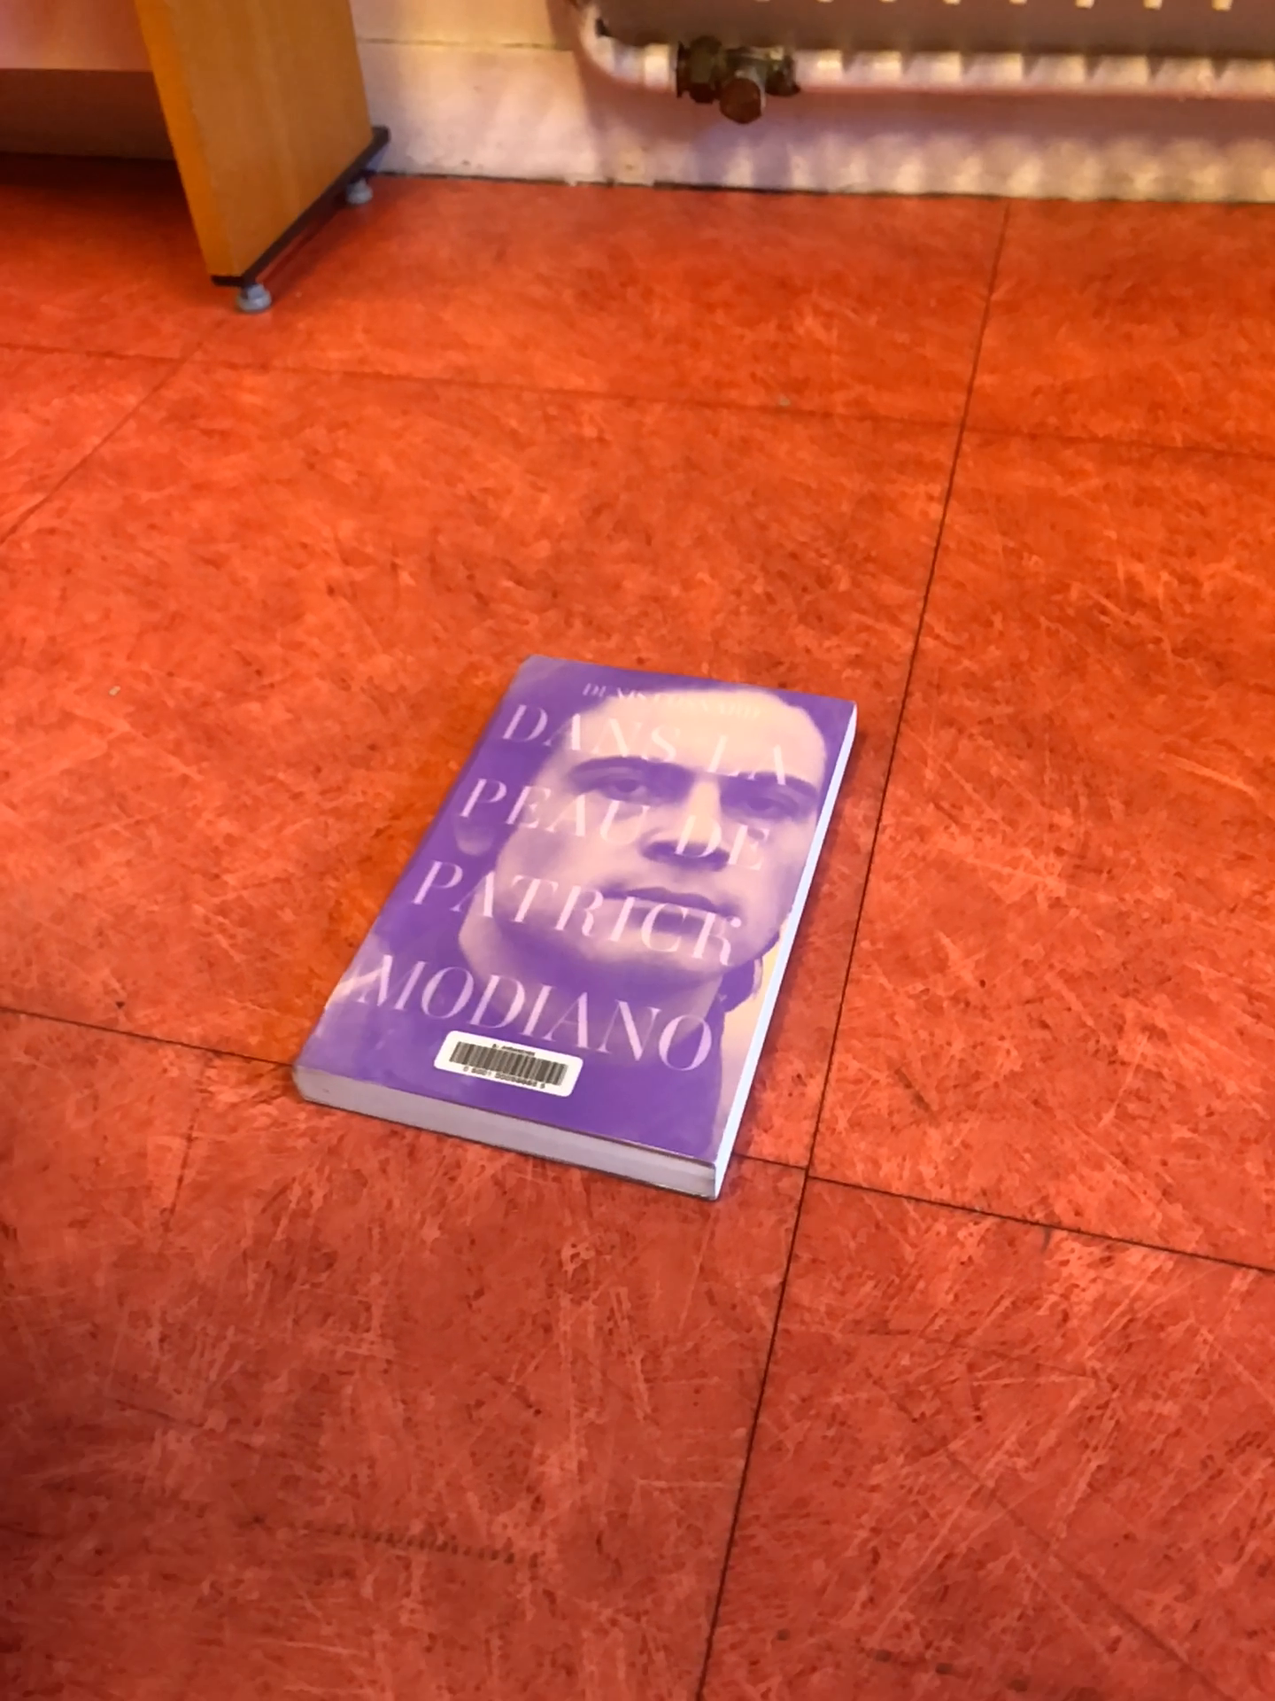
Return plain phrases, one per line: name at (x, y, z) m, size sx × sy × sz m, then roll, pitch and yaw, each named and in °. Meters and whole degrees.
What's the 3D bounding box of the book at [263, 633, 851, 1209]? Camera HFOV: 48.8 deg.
book at (-0.017, 0.010, 0.534) m, size 0.150 × 0.030 × 0.234 m, roll 11°, pitch 47°, yaw 14°
